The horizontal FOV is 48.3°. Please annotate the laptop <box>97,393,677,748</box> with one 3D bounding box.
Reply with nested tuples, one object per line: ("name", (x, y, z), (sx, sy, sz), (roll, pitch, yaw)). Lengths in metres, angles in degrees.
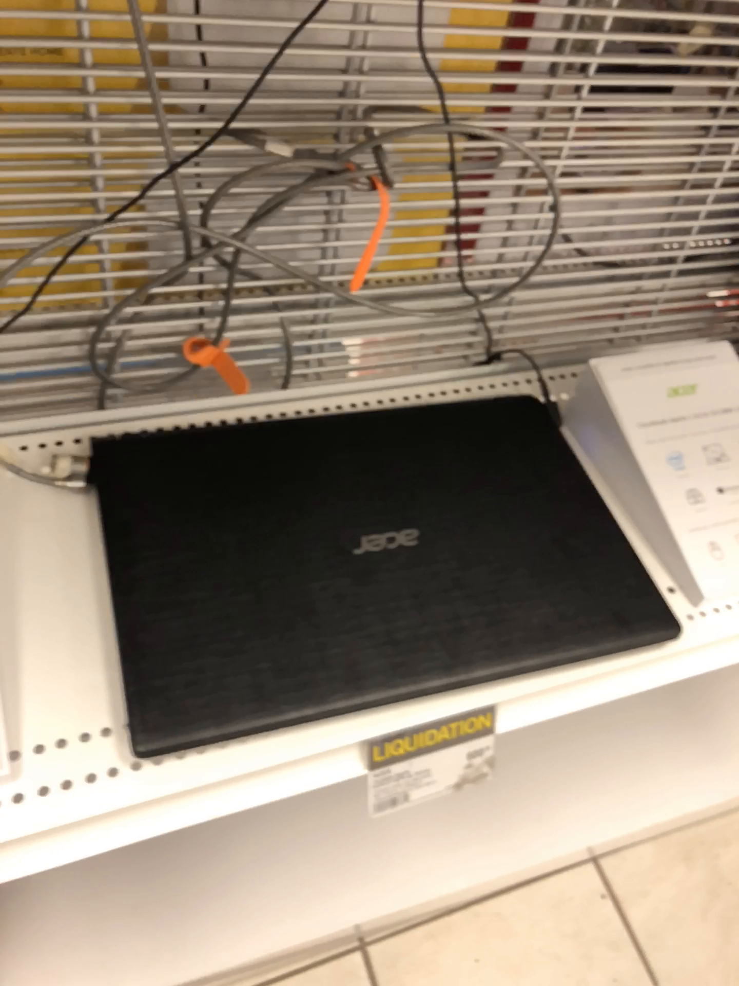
("laptop", (0.007, 0.027, 0.599), (0.374, 0.003, 0.248), (-7, 50, -19))
